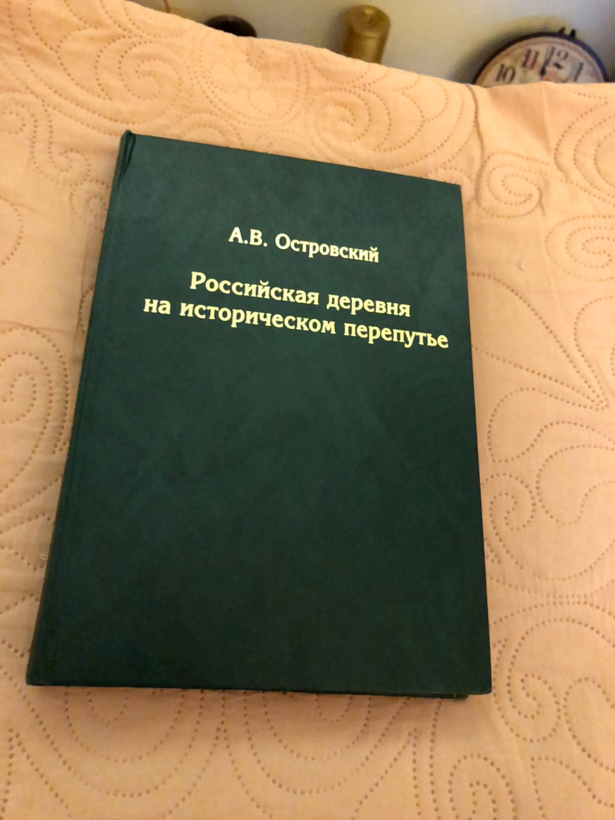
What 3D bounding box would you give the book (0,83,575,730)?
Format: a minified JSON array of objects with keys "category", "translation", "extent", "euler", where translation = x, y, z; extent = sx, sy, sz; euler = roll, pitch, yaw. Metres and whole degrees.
[{"category":"book","translation":[0.000,-0.009,0.271],"extent":[0.180,0.040,0.241],"euler":[5,69,-8]}]
